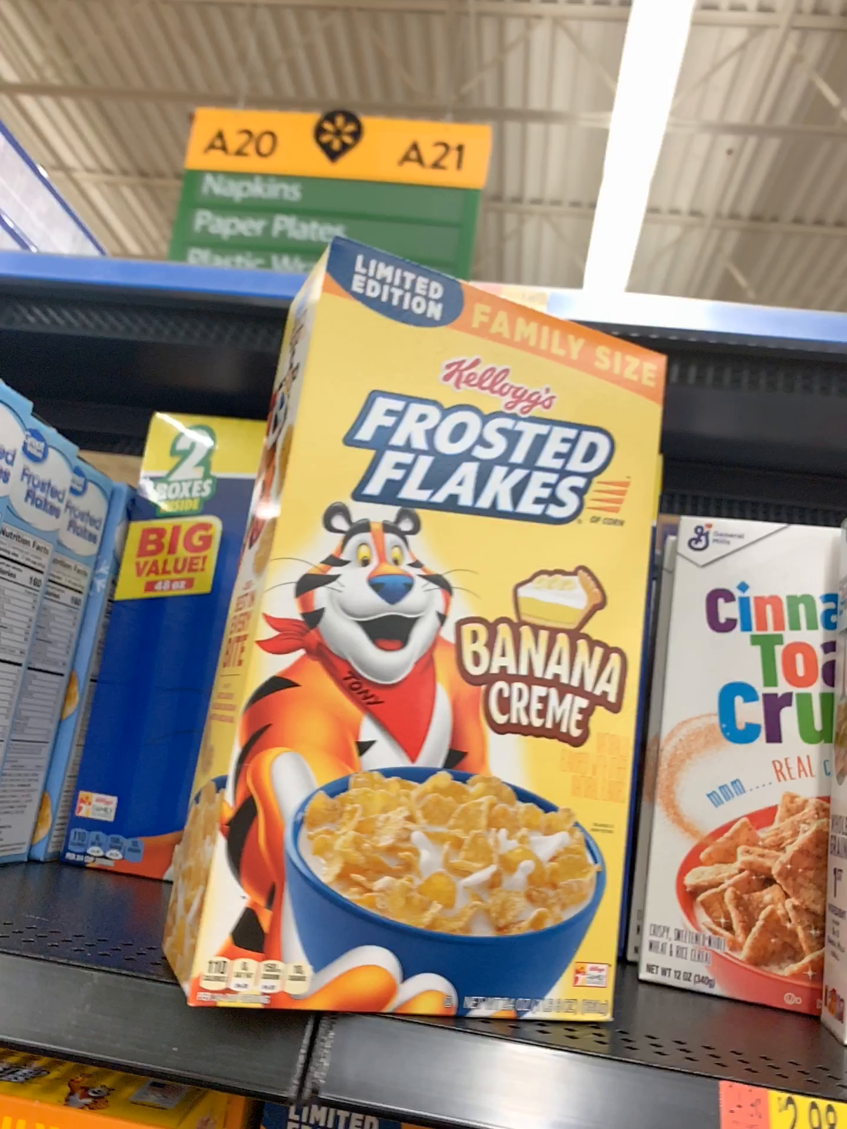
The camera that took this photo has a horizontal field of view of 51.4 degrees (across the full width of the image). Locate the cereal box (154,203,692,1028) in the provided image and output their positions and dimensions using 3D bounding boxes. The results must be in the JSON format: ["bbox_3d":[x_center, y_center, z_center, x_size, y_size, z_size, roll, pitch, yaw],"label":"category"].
[{"bbox_3d":[0.011,0.028,0.434,0.200,0.341,0.080,14,-13,-21],"label":"cereal box"}]
